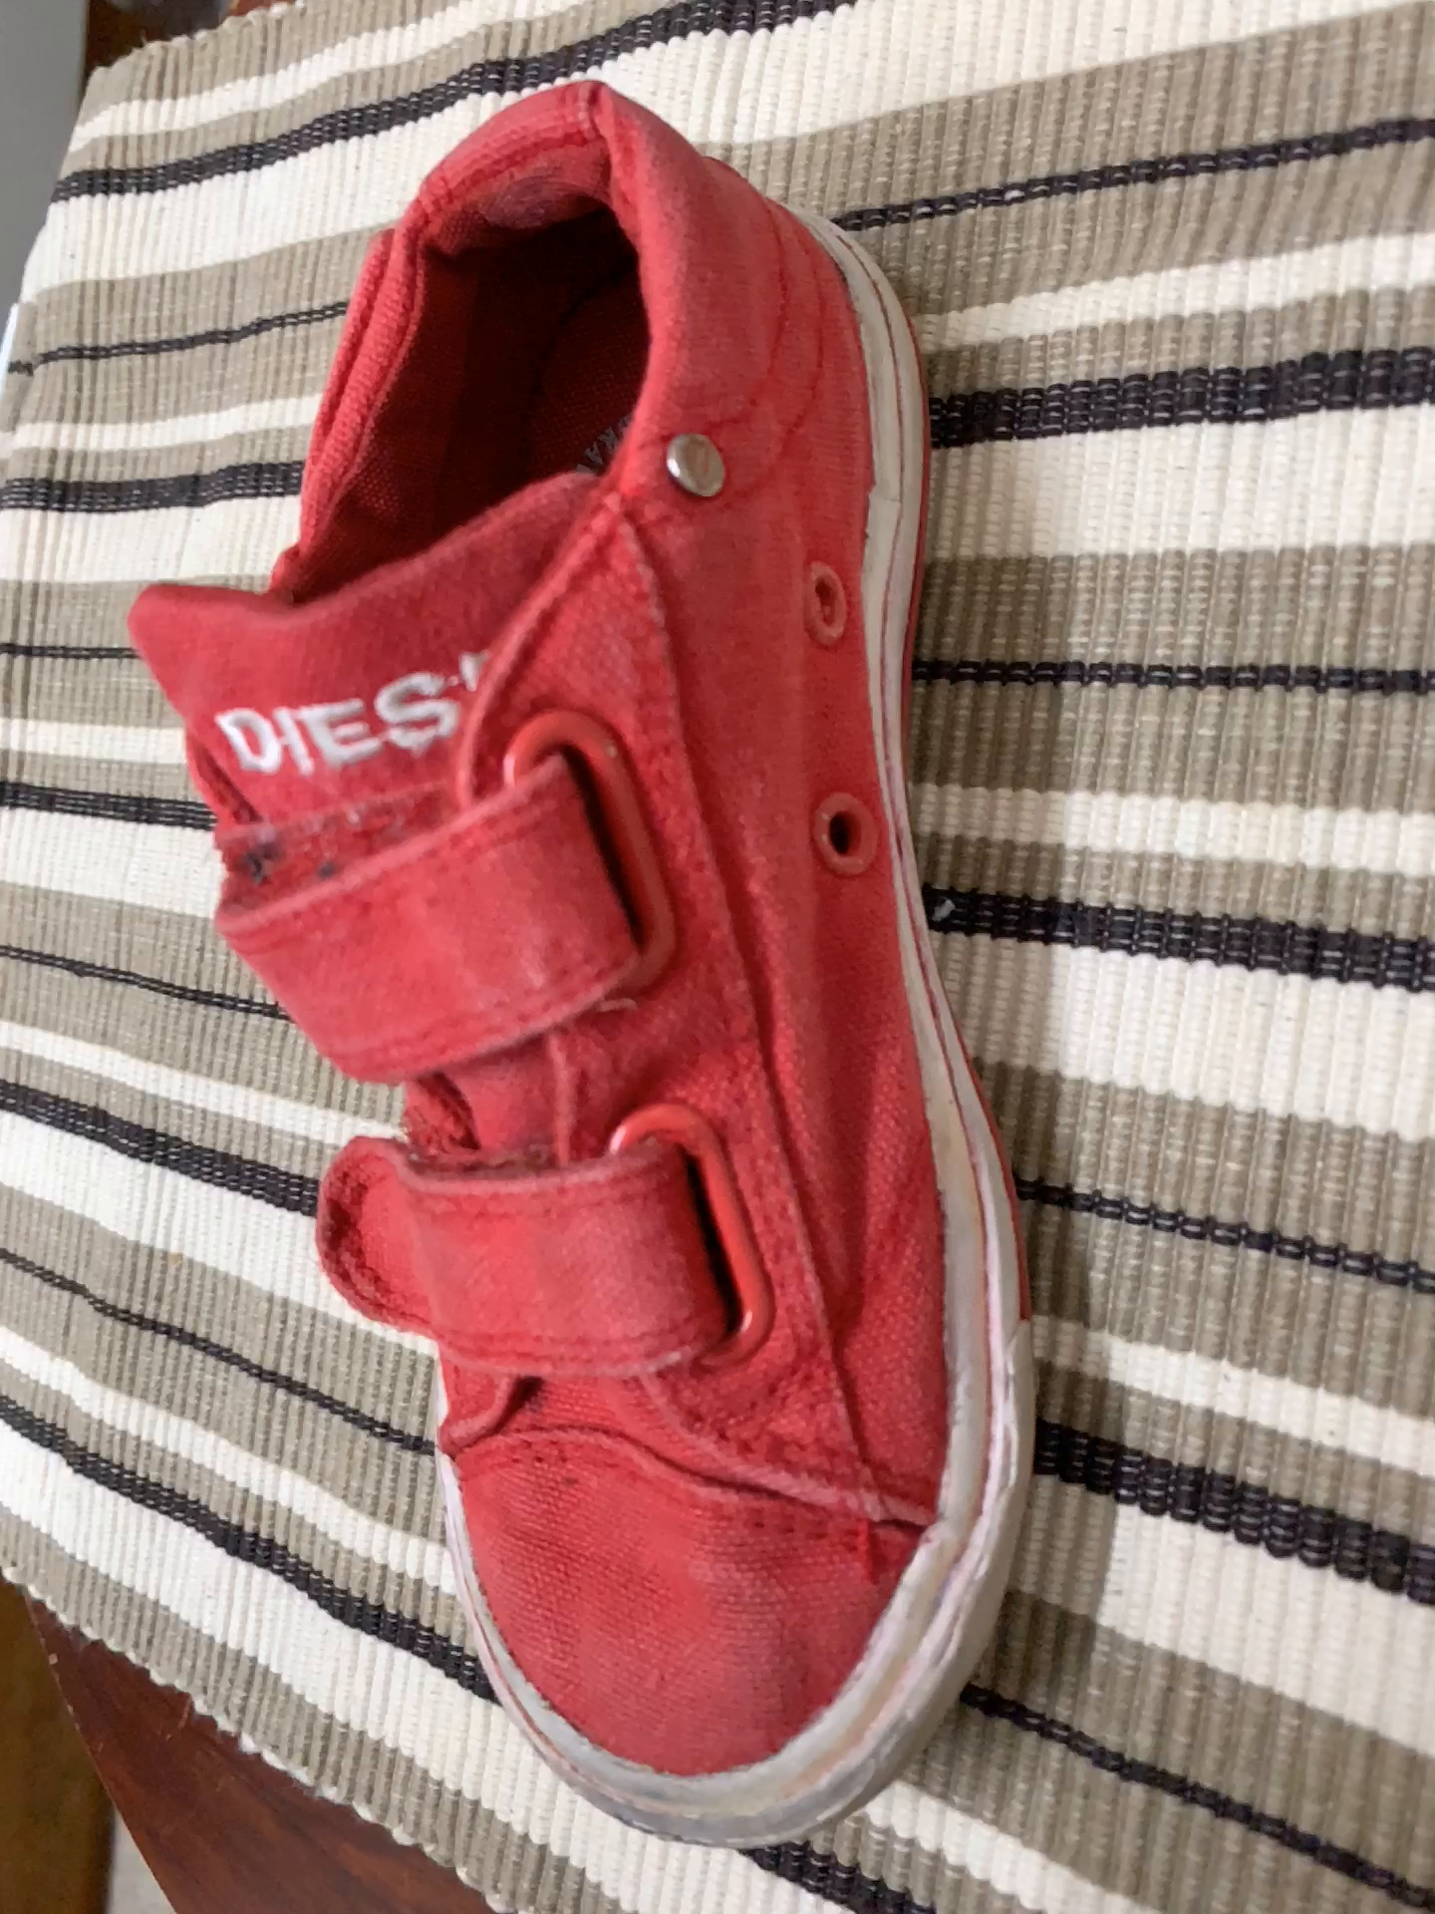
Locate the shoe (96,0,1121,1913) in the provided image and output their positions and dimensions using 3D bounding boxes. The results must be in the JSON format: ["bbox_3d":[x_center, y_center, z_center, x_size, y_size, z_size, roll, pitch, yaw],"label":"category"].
[{"bbox_3d":[-0.011,-0.007,0.161,0.080,0.070,0.170,-4,84,35],"label":"shoe"}]
